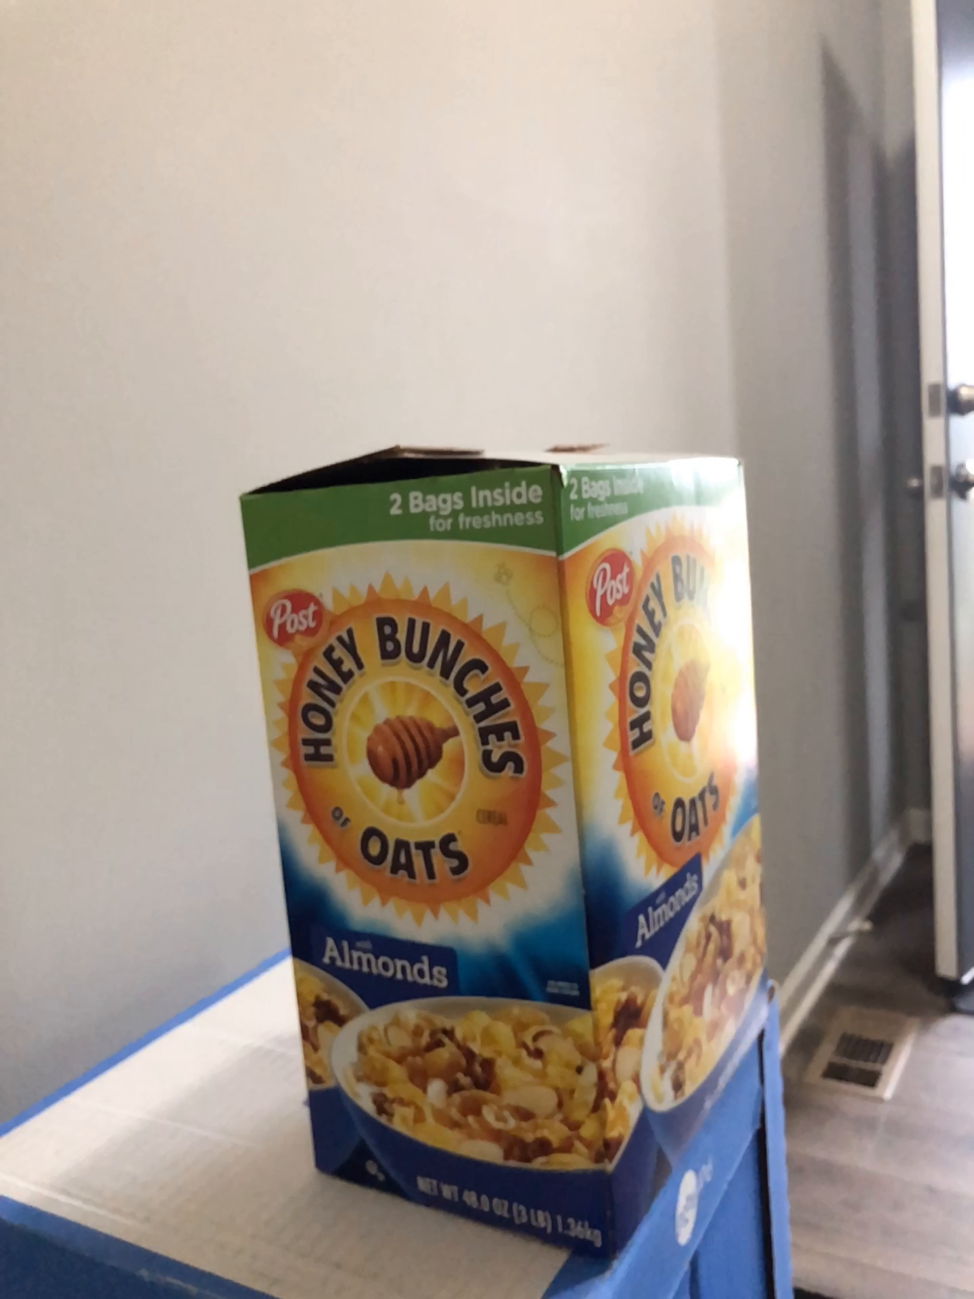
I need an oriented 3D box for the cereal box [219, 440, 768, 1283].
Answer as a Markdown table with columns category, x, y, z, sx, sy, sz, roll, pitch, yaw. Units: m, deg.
| category | x | y | z | sx | sy | sz | roll | pitch | yaw |
| --- | --- | --- | --- | --- | --- | --- | --- | --- | --- |
| cereal box | 0.020 | 0.064 | 0.495 | 0.150 | 0.300 | 0.200 | 0 | 9 | 29 |
